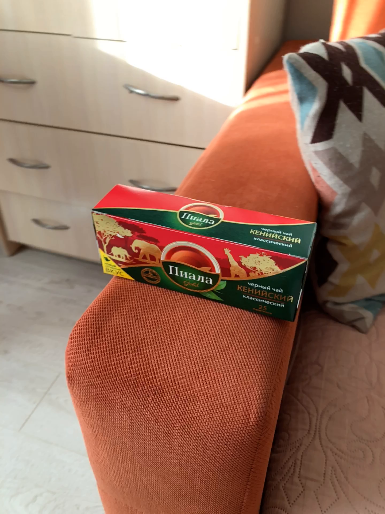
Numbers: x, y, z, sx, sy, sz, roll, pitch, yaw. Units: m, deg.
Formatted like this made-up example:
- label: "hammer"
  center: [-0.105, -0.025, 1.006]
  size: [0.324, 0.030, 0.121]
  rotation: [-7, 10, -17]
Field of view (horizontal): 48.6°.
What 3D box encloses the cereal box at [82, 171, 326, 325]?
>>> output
- label: "cereal box"
  center: [0.007, -0.011, 0.330]
  size: [0.170, 0.069, 0.050]
  rotation: [13, 39, 17]
